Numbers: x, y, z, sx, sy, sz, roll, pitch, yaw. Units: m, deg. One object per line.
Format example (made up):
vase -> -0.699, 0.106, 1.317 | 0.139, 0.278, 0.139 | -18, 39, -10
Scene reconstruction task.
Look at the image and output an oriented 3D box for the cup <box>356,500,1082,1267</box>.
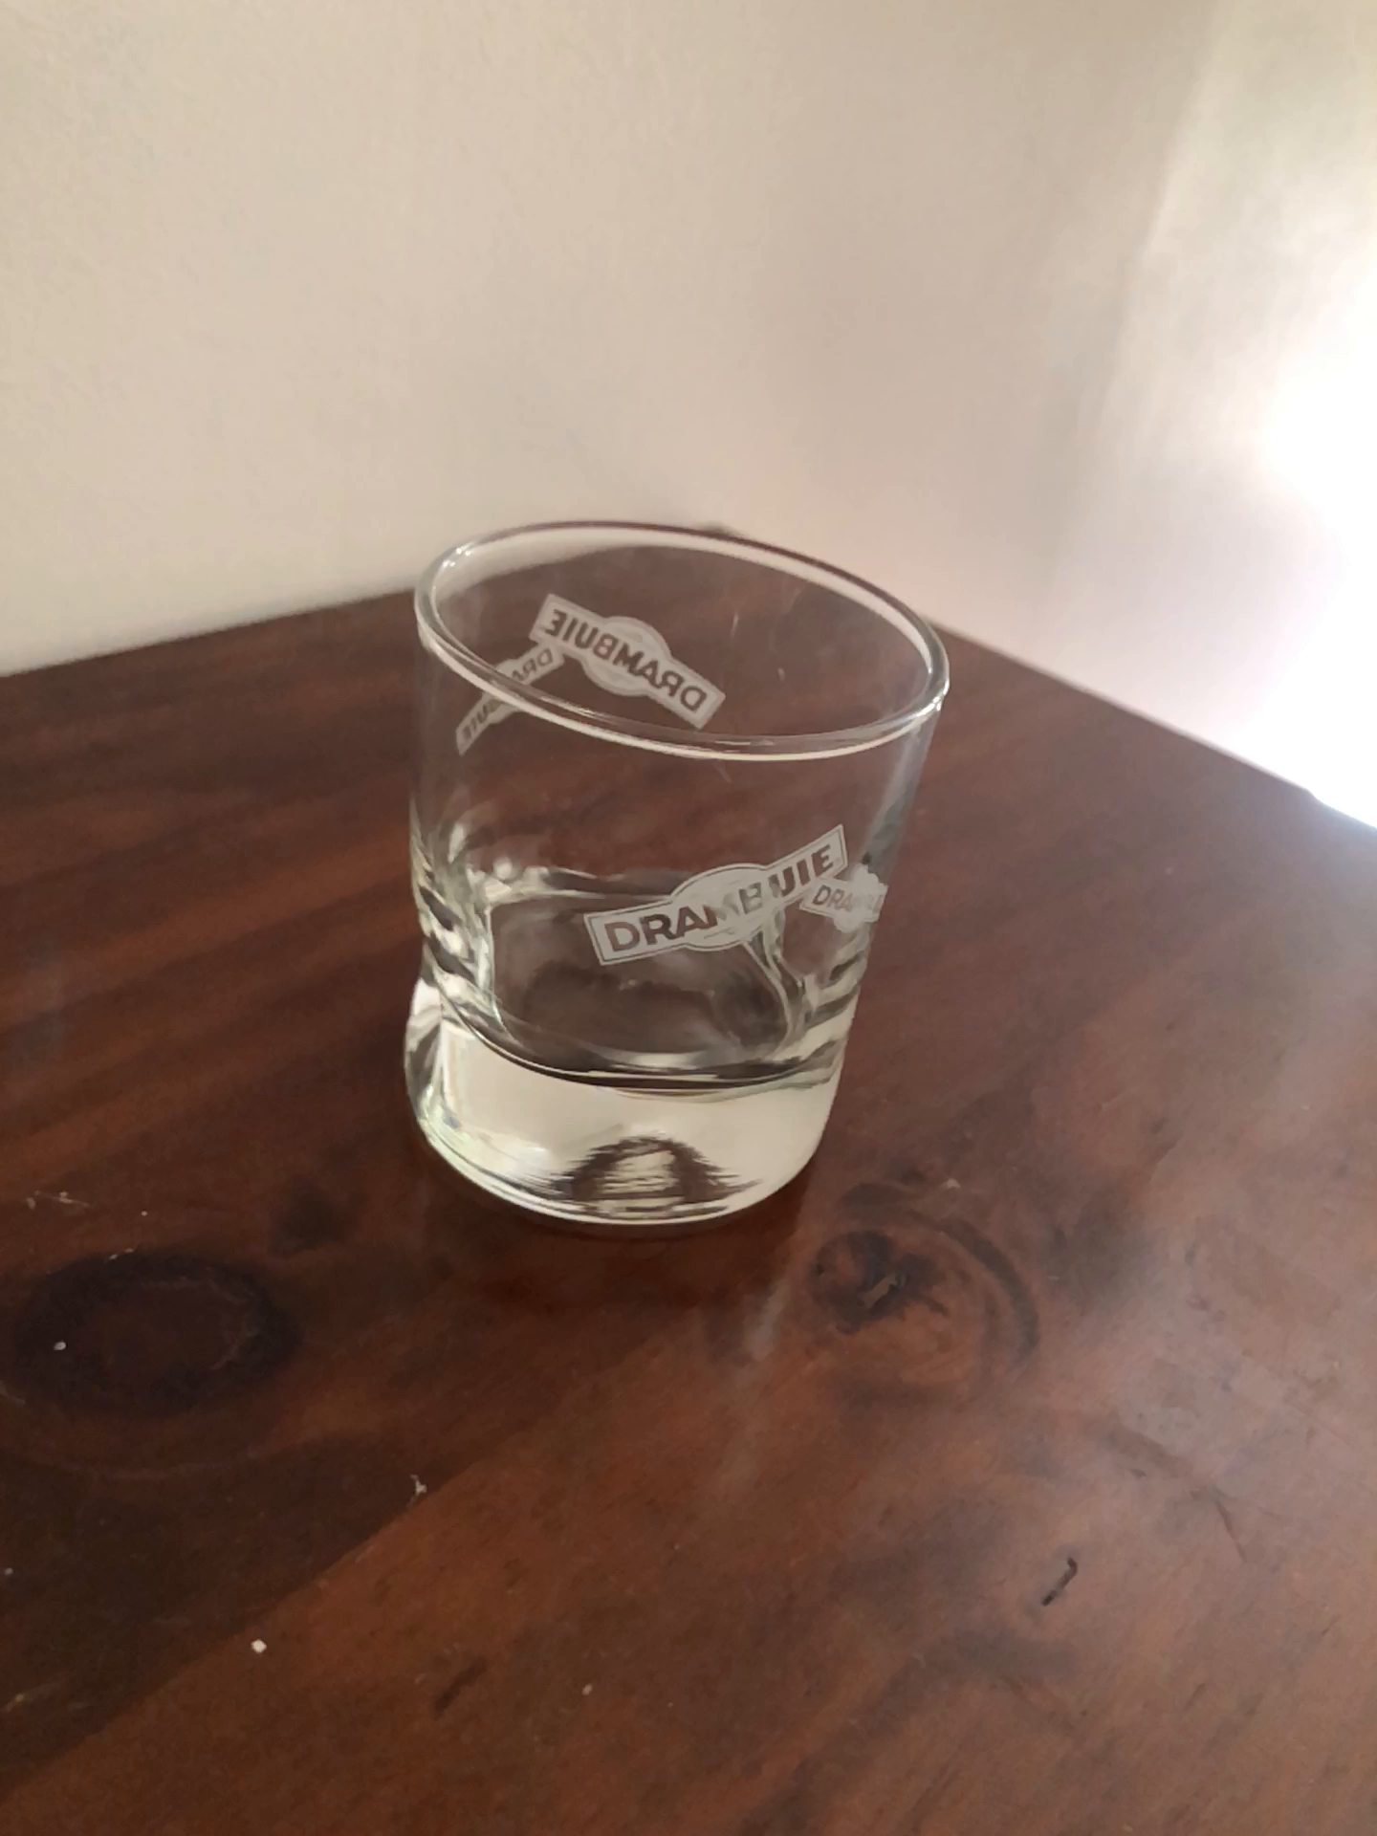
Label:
cup -> -0.005, -0.008, 0.235 | 0.082, 0.080, 0.081 | 7, 32, -5
